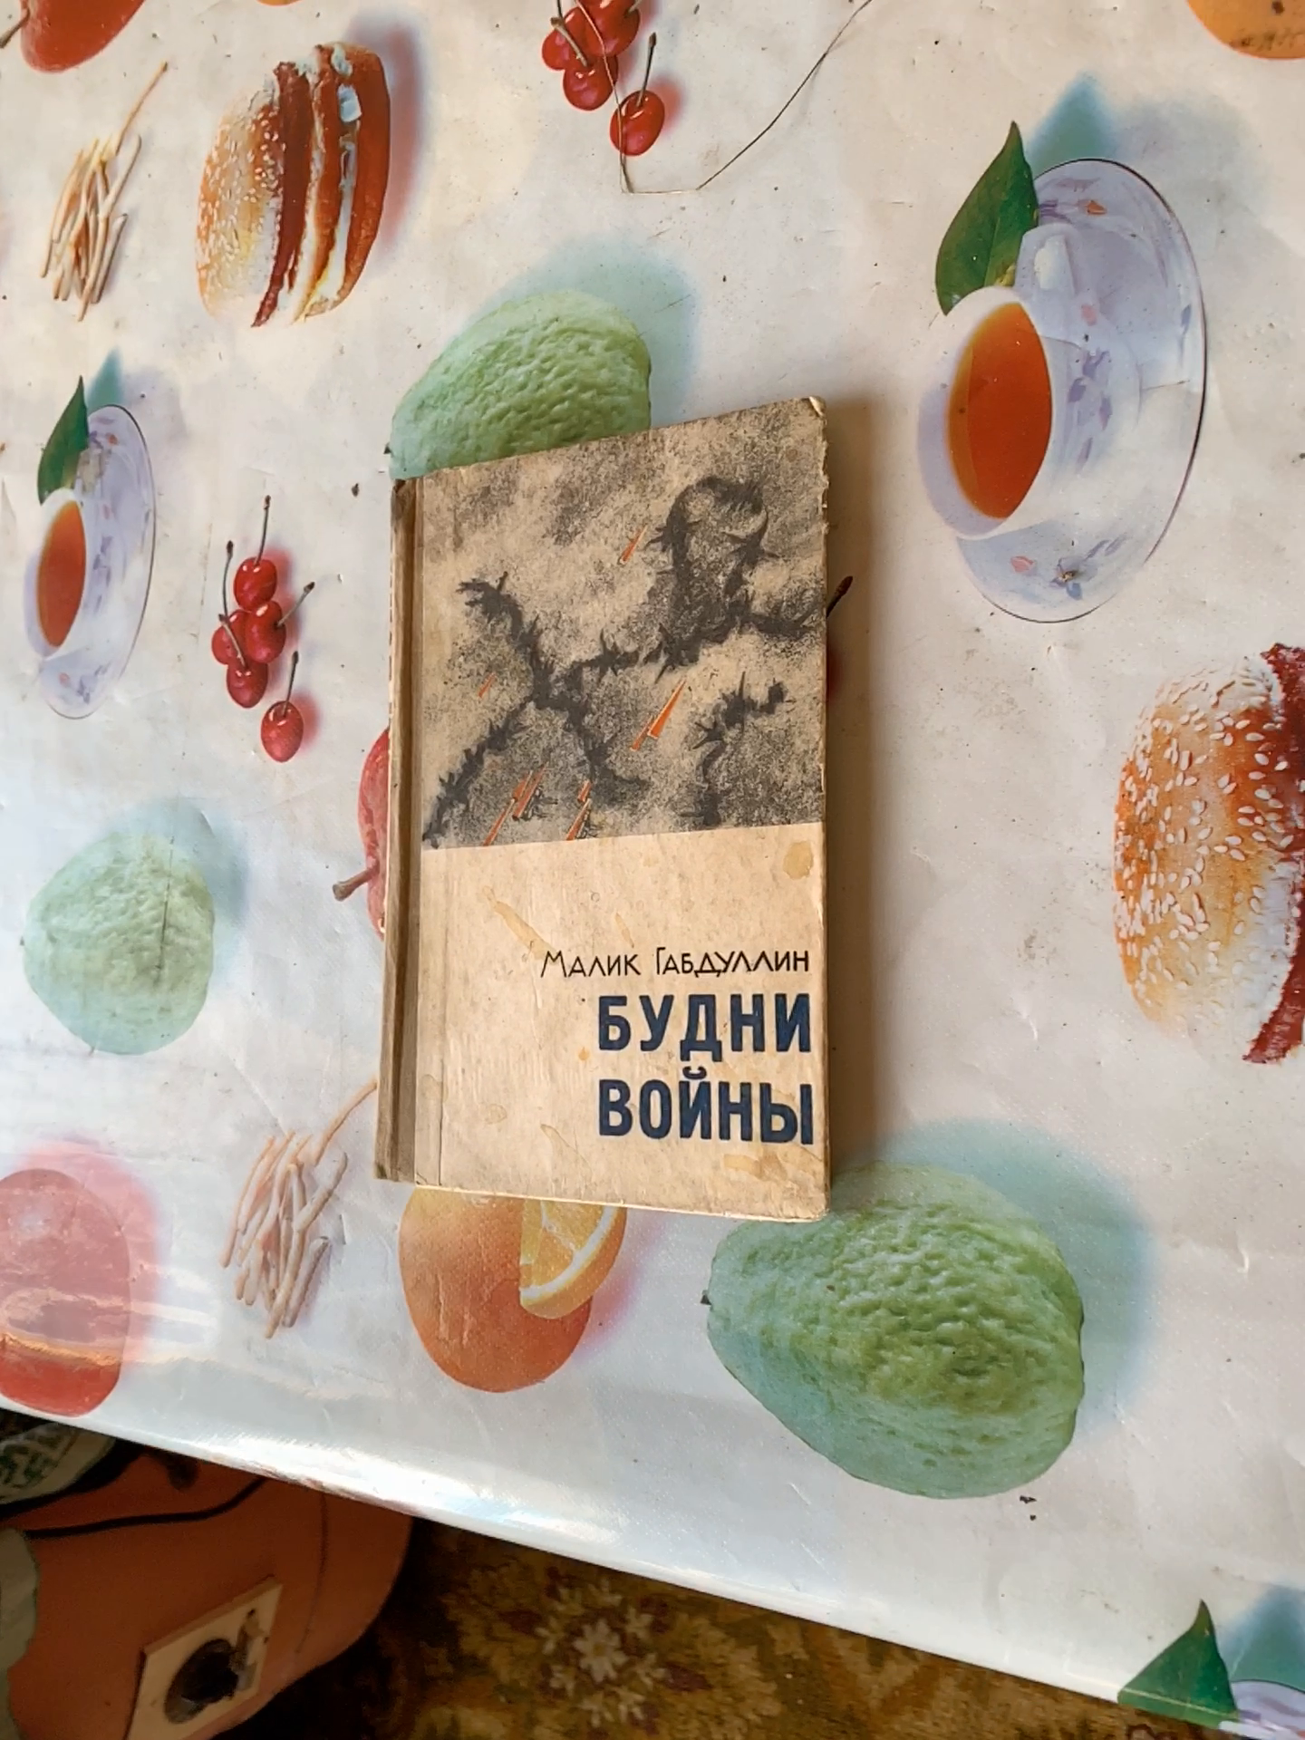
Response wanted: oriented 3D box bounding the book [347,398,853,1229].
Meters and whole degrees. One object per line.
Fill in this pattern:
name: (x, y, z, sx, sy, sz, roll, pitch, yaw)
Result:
book: (-0.016, -0.013, 0.352, 0.136, 0.018, 0.196, -2, 83, 26)
